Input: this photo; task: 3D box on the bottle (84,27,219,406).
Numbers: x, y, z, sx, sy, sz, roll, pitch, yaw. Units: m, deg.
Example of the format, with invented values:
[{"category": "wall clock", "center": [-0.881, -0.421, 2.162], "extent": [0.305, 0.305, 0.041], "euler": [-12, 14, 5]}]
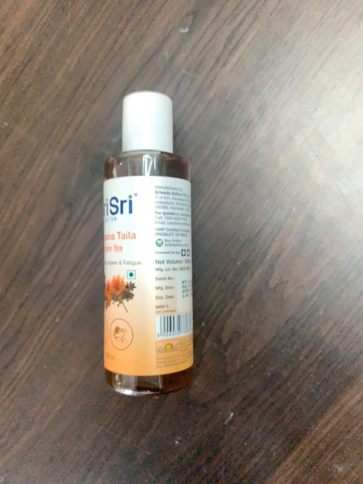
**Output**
[{"category": "bottle", "center": [-0.013, -0.009, 0.169], "extent": [0.040, 0.040, 0.140], "euler": [-3, 87, 35]}]
